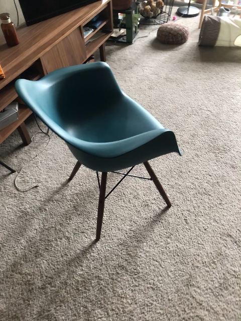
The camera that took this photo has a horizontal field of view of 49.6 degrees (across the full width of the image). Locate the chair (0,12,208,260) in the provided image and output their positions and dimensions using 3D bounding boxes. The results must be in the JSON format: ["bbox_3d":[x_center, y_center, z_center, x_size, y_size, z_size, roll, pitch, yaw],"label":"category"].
[{"bbox_3d":[-0.060,-0.062,1.182,0.481,0.844,0.572,-27,54,-15],"label":"chair"}]
